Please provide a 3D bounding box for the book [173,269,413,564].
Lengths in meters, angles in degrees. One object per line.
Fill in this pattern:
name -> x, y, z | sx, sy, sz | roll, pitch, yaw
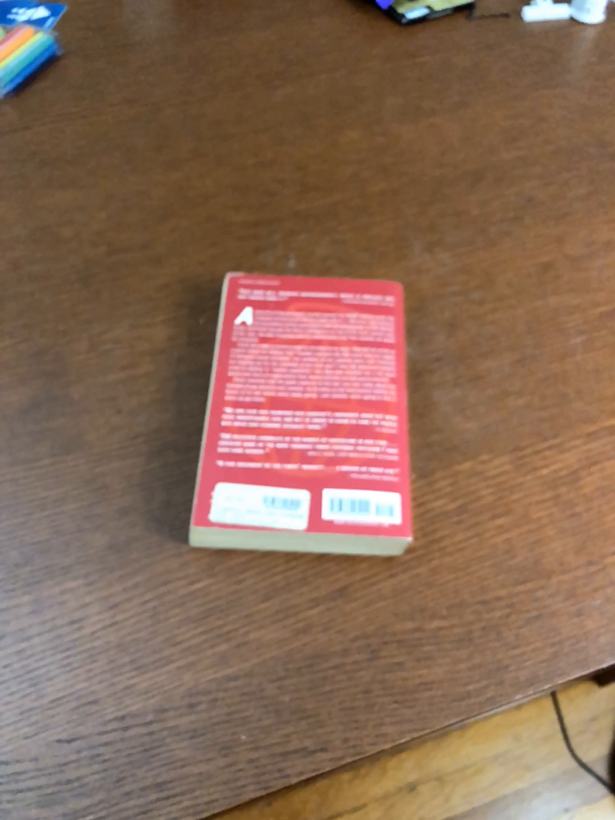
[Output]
book -> -0.004, -0.005, 0.470 | 0.140, 0.030, 0.211 | 3, 58, 1
